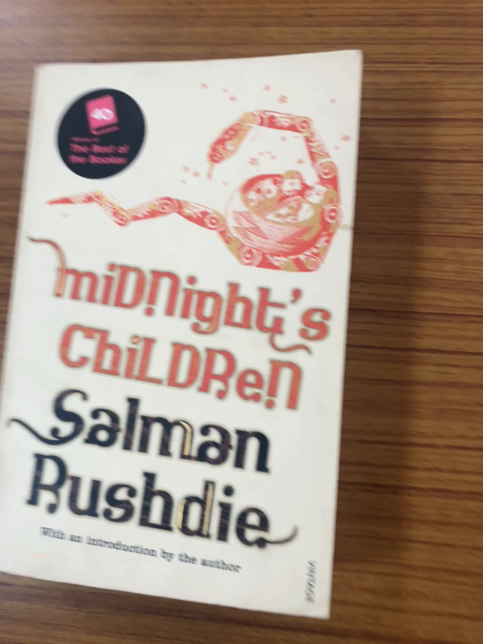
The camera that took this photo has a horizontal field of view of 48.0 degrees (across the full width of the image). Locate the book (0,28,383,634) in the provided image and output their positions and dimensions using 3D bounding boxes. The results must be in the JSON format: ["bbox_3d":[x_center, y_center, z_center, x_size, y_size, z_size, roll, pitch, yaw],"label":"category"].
[{"bbox_3d":[-0.022,-0.003,0.212,0.140,0.040,0.200,3,85,12],"label":"book"}]
